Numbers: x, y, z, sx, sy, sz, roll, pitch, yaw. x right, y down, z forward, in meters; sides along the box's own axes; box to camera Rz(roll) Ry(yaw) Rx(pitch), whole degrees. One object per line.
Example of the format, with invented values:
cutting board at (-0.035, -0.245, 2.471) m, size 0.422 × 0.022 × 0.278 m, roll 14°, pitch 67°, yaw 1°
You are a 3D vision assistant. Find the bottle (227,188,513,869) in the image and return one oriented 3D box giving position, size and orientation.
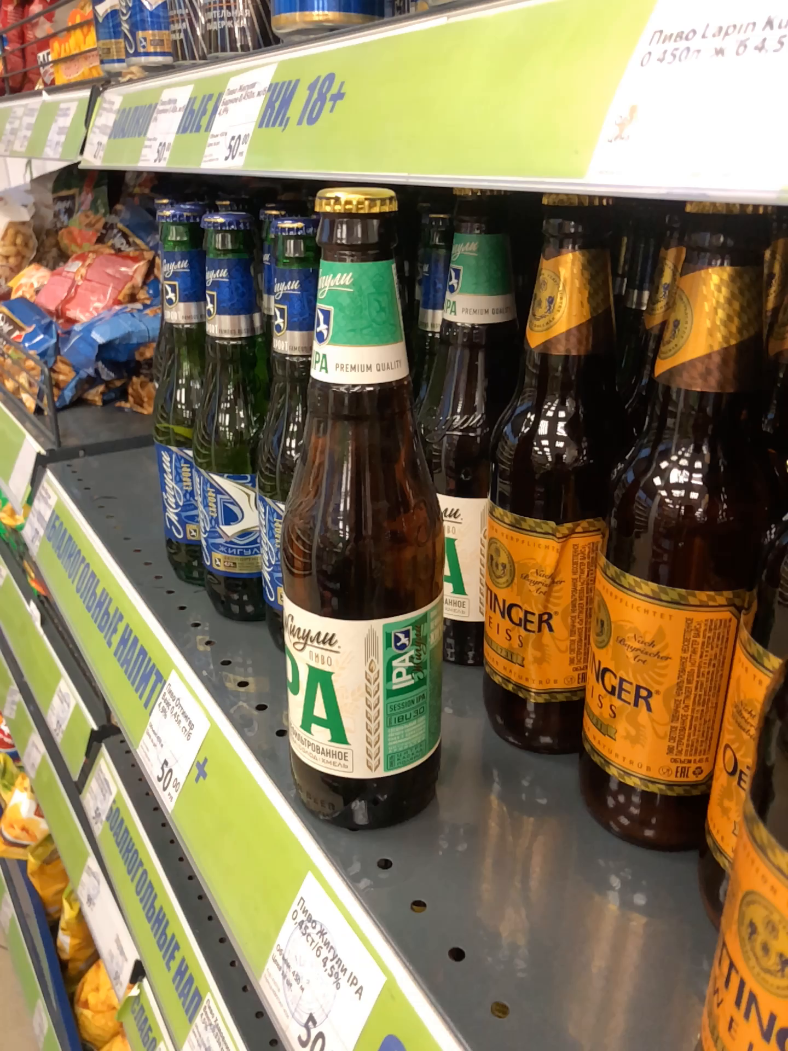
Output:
bottle at (-0.008, 0.002, 0.356) m, size 0.070 × 0.258 × 0.080 m, roll -15°, pitch 27°, yaw -28°
